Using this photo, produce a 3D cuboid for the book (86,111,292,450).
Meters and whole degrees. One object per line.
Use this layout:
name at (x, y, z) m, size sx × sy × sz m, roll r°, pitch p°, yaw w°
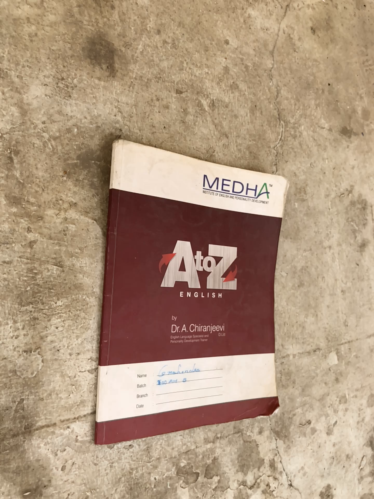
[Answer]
book at (0.017, 0.030, 0.418) m, size 0.221 × 0.030 × 0.280 m, roll 5°, pitch 82°, yaw -34°
